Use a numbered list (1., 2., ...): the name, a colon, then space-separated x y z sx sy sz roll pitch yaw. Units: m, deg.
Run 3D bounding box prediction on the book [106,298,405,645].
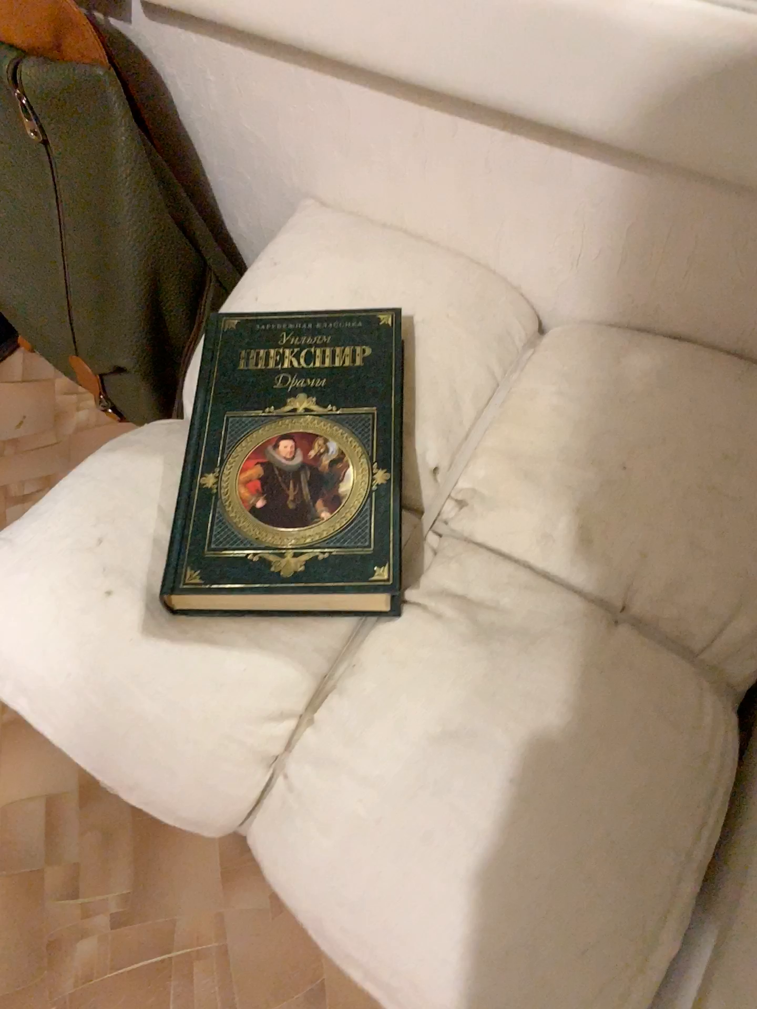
1. book: -0.061 -0.028 0.468 0.150 0.040 0.221 0 60 4
